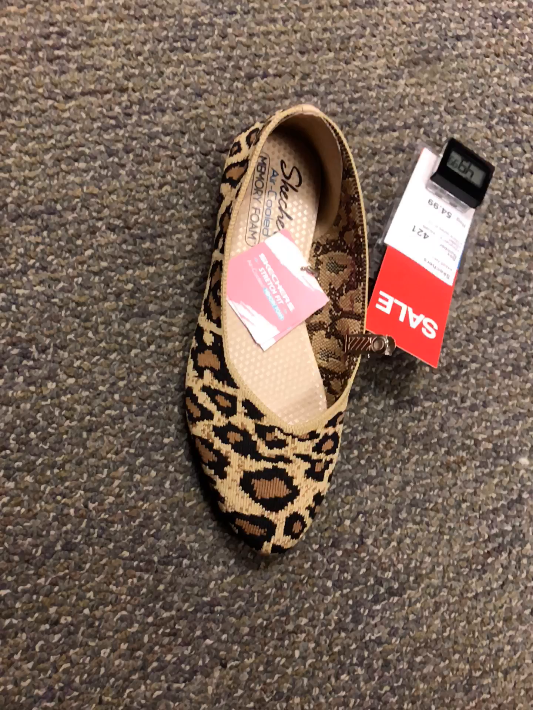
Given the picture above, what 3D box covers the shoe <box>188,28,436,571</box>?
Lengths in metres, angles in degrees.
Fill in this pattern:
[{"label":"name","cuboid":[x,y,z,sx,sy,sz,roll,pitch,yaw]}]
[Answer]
[{"label":"shoe","cuboid":[0.018,-0.025,0.325,0.105,0.085,0.253,2,81,-16]}]
